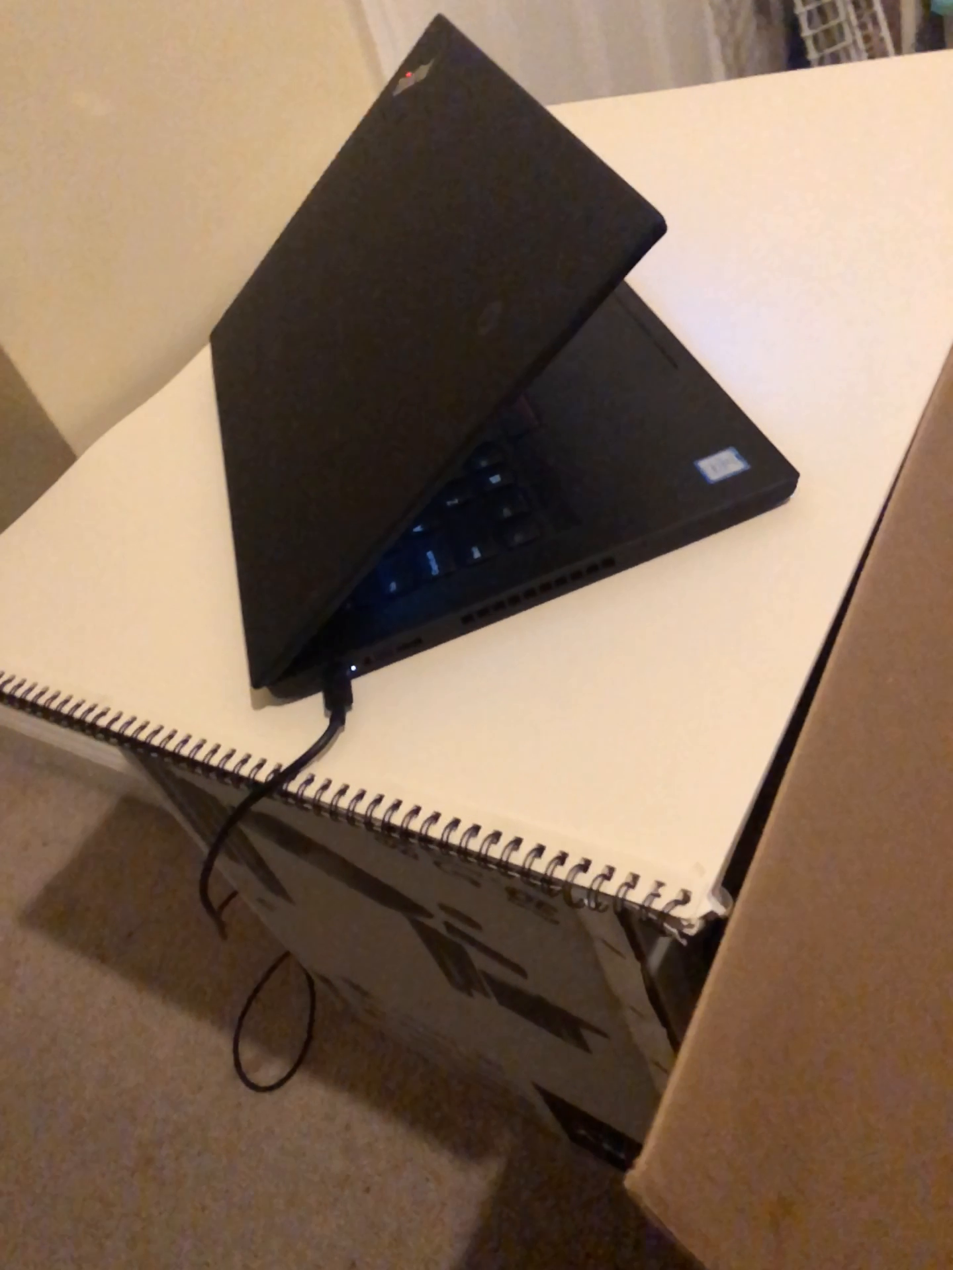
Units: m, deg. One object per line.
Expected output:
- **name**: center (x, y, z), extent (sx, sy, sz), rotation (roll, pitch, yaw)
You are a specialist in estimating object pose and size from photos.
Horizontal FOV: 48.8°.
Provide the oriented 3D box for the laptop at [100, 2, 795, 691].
- **laptop**: center (-0.036, -0.160, 0.490), extent (0.226, 0.115, 0.319), rotation (-22, 42, 1)
